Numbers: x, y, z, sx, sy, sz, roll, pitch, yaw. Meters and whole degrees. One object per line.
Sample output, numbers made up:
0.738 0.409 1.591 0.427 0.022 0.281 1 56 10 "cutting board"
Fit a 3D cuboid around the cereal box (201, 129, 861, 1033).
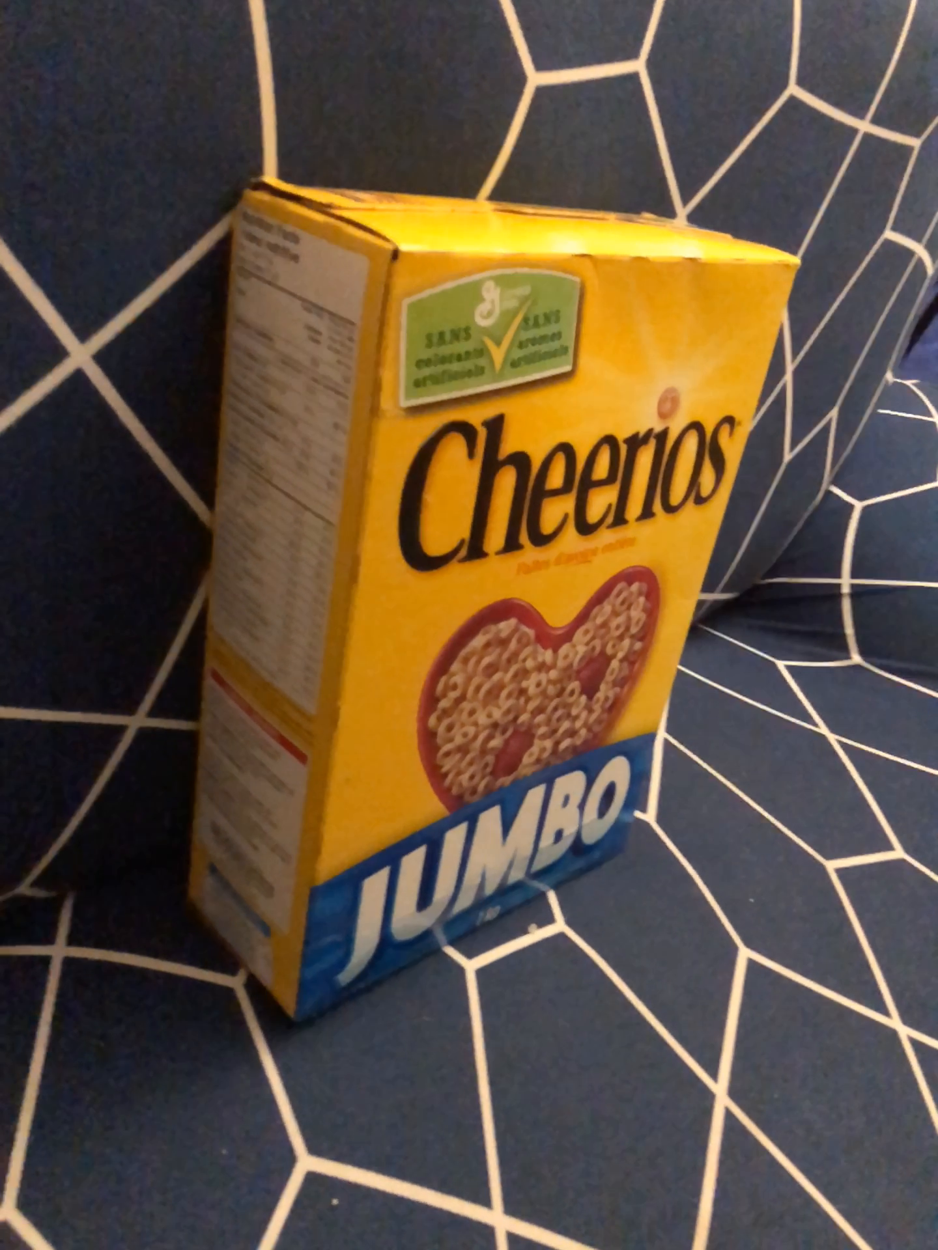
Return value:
0.018 -0.018 0.400 0.211 0.288 0.080 -15 37 -41 "cereal box"
